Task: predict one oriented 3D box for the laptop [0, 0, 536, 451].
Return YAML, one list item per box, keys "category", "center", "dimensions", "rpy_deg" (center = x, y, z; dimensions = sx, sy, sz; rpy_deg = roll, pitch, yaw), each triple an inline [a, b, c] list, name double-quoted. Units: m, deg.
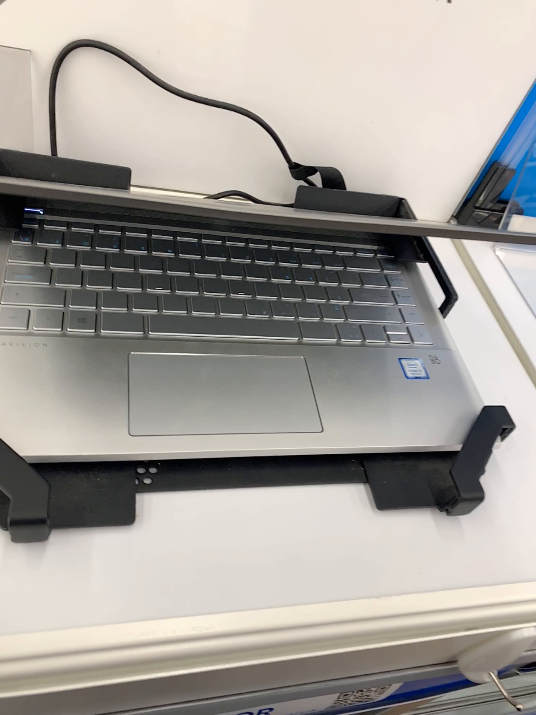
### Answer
- category: "laptop"
  center: [-0.007, -0.066, 0.294]
  dimensions: [0.283, 0.111, 0.194]
  rpy_deg: [2, 51, -15]
